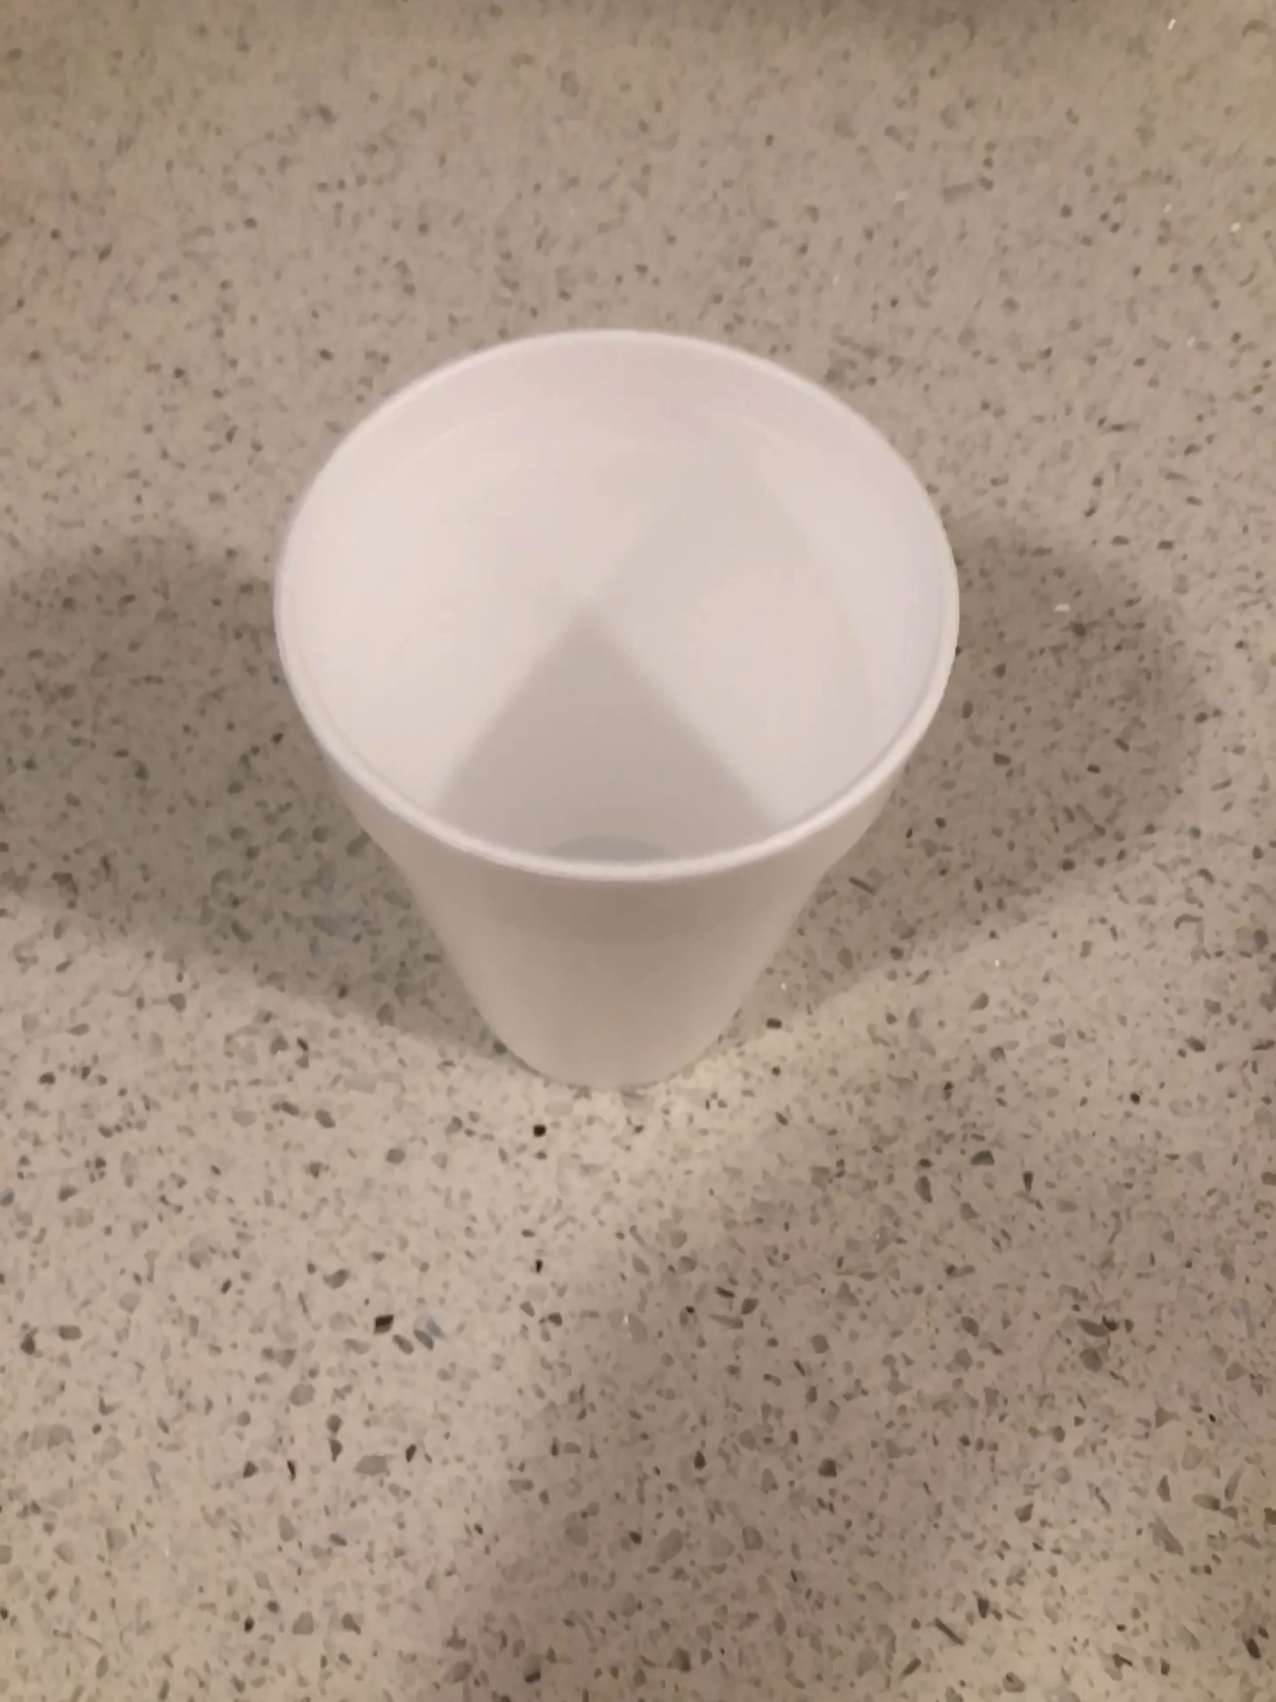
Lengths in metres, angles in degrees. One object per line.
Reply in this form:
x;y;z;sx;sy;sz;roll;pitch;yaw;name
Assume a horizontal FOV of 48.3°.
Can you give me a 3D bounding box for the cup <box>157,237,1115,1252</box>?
-0.004;-0.009;0.234;0.088;0.119;0.090;1;63;-1;cup
